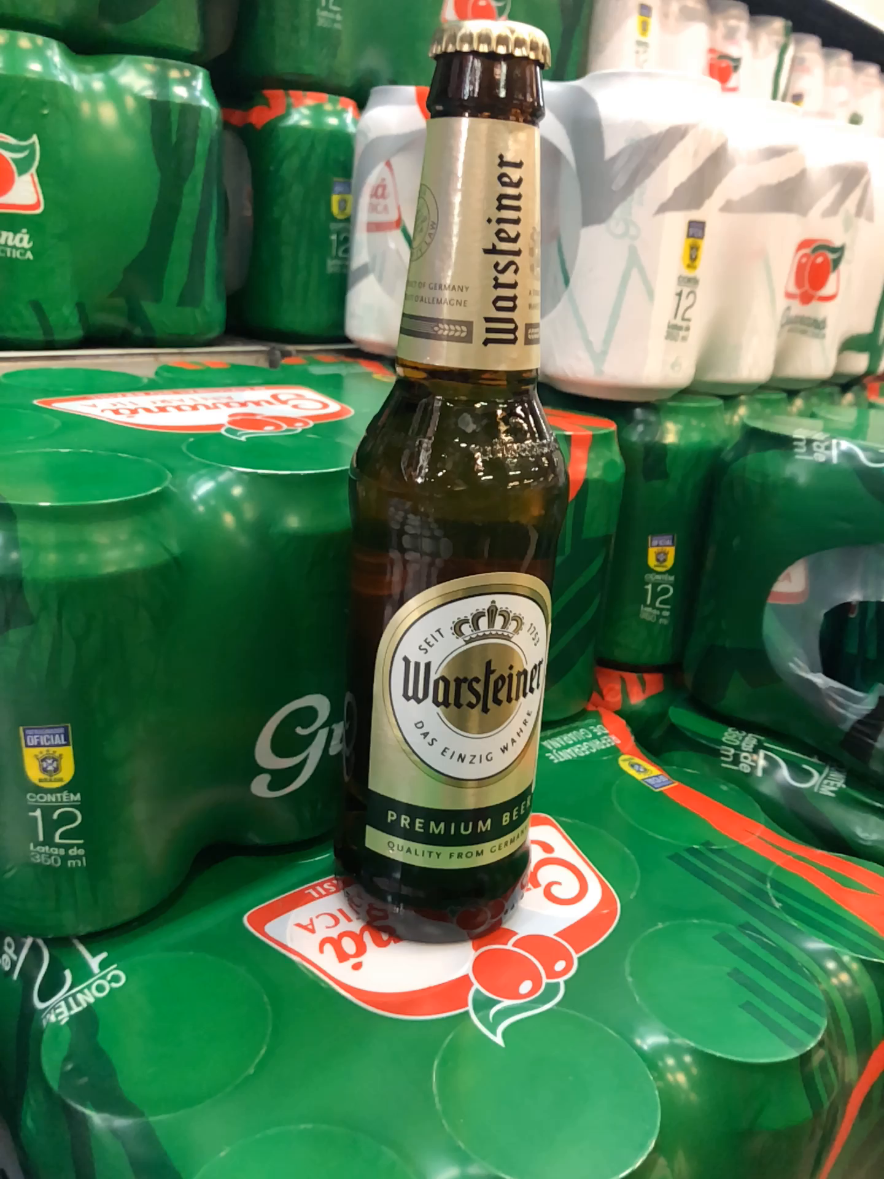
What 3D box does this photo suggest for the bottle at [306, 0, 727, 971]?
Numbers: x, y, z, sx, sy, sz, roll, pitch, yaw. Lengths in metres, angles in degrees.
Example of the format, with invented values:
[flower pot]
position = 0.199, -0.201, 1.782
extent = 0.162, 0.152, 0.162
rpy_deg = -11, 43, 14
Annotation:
[bottle]
position = 0.007, -0.020, 0.253
extent = 0.070, 0.229, 0.060
rpy_deg = 0, 20, -14
